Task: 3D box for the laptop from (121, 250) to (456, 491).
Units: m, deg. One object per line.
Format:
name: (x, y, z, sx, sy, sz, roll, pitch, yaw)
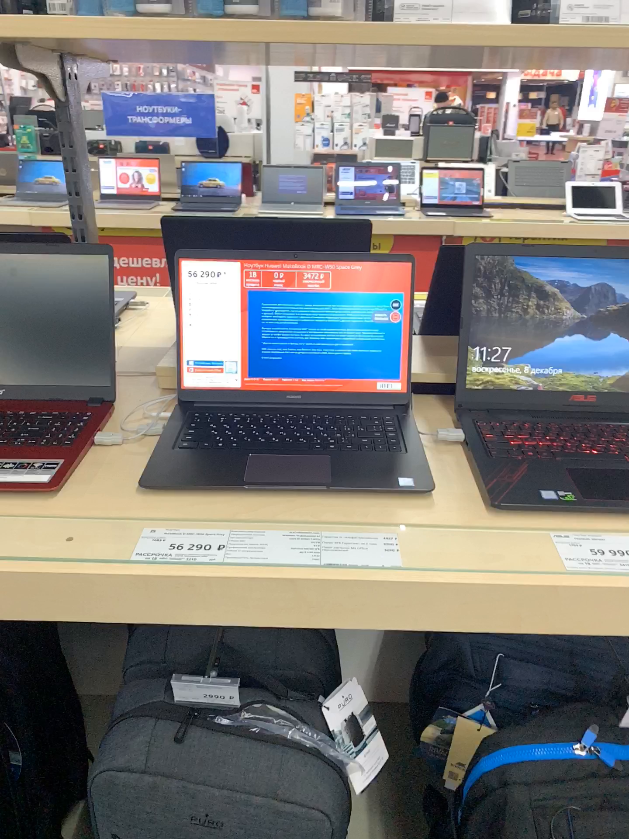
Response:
laptop: (-0.028, -0.082, 0.848, 0.348, 0.209, 0.304, 1, 26, 0)
